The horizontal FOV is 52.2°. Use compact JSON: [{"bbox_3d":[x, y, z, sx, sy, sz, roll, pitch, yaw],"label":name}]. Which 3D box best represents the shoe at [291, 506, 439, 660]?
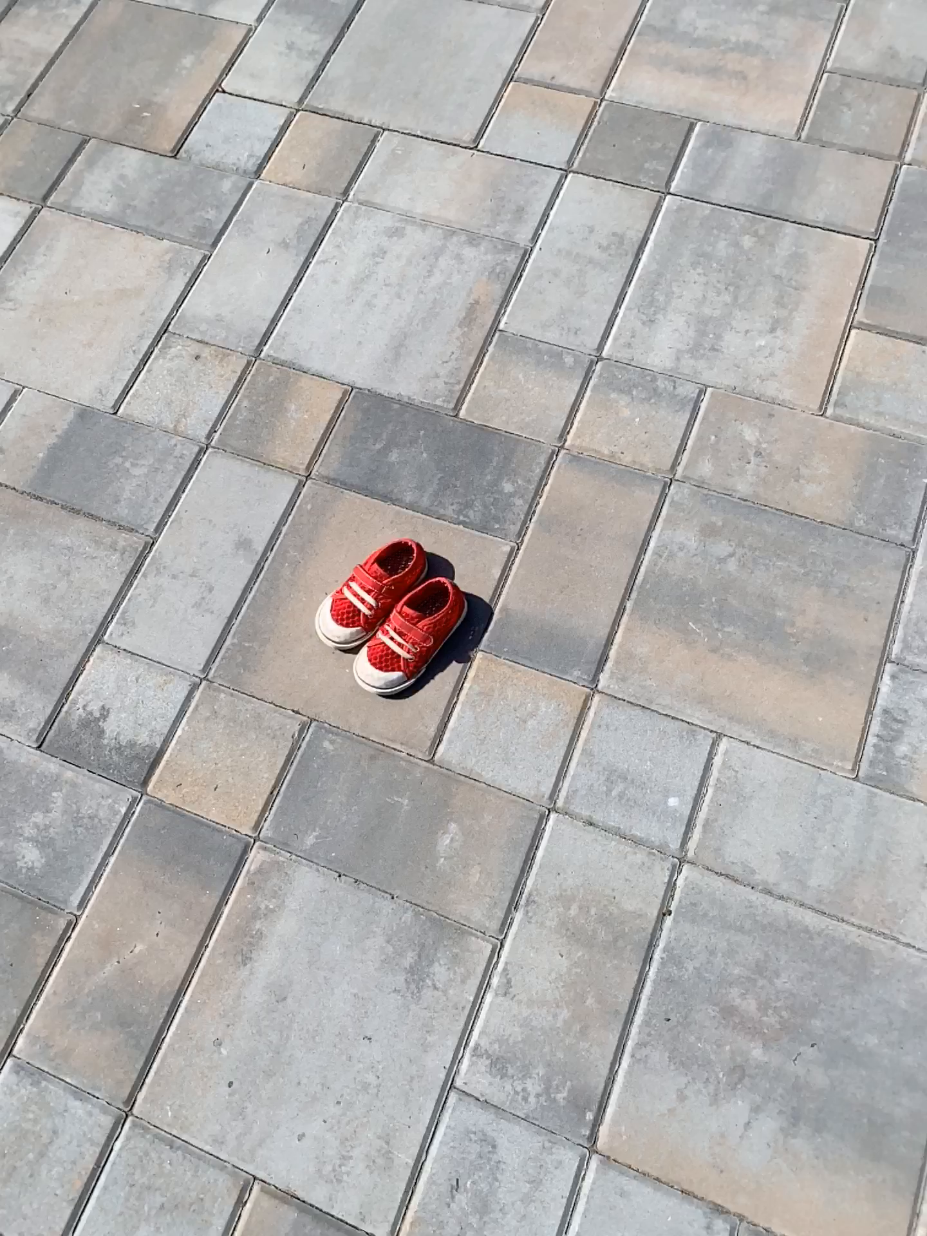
[{"bbox_3d":[-0.117,-0.041,1.165,0.160,0.100,0.070,-42,71,-12],"label":"shoe"}]

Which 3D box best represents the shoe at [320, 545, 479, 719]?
[{"bbox_3d":[-0.073,0.018,1.151,0.090,0.100,0.170,37,75,18],"label":"shoe"}]
